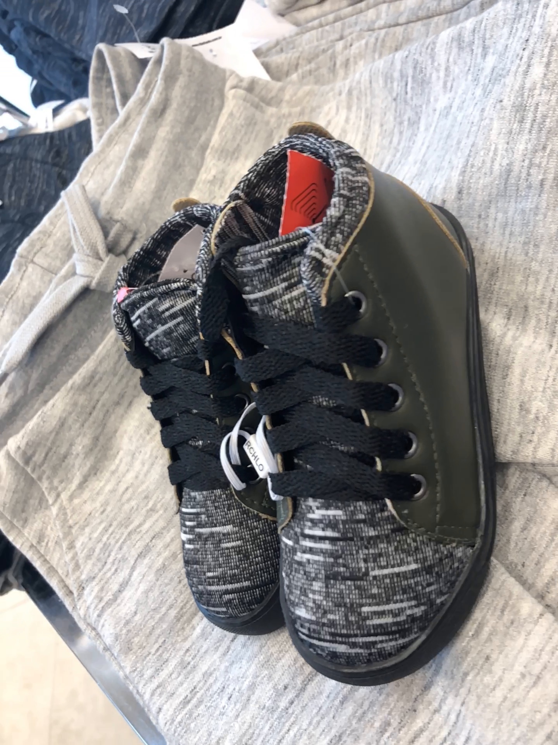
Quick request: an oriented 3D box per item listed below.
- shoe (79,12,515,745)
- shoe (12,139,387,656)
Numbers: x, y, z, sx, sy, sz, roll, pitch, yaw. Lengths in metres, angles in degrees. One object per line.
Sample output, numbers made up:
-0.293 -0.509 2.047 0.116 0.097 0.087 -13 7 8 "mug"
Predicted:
0.016 0.004 0.194 0.080 0.090 0.170 -8 67 36 "shoe"
-0.022 0.014 0.244 0.080 0.090 0.160 -5 69 38 "shoe"
